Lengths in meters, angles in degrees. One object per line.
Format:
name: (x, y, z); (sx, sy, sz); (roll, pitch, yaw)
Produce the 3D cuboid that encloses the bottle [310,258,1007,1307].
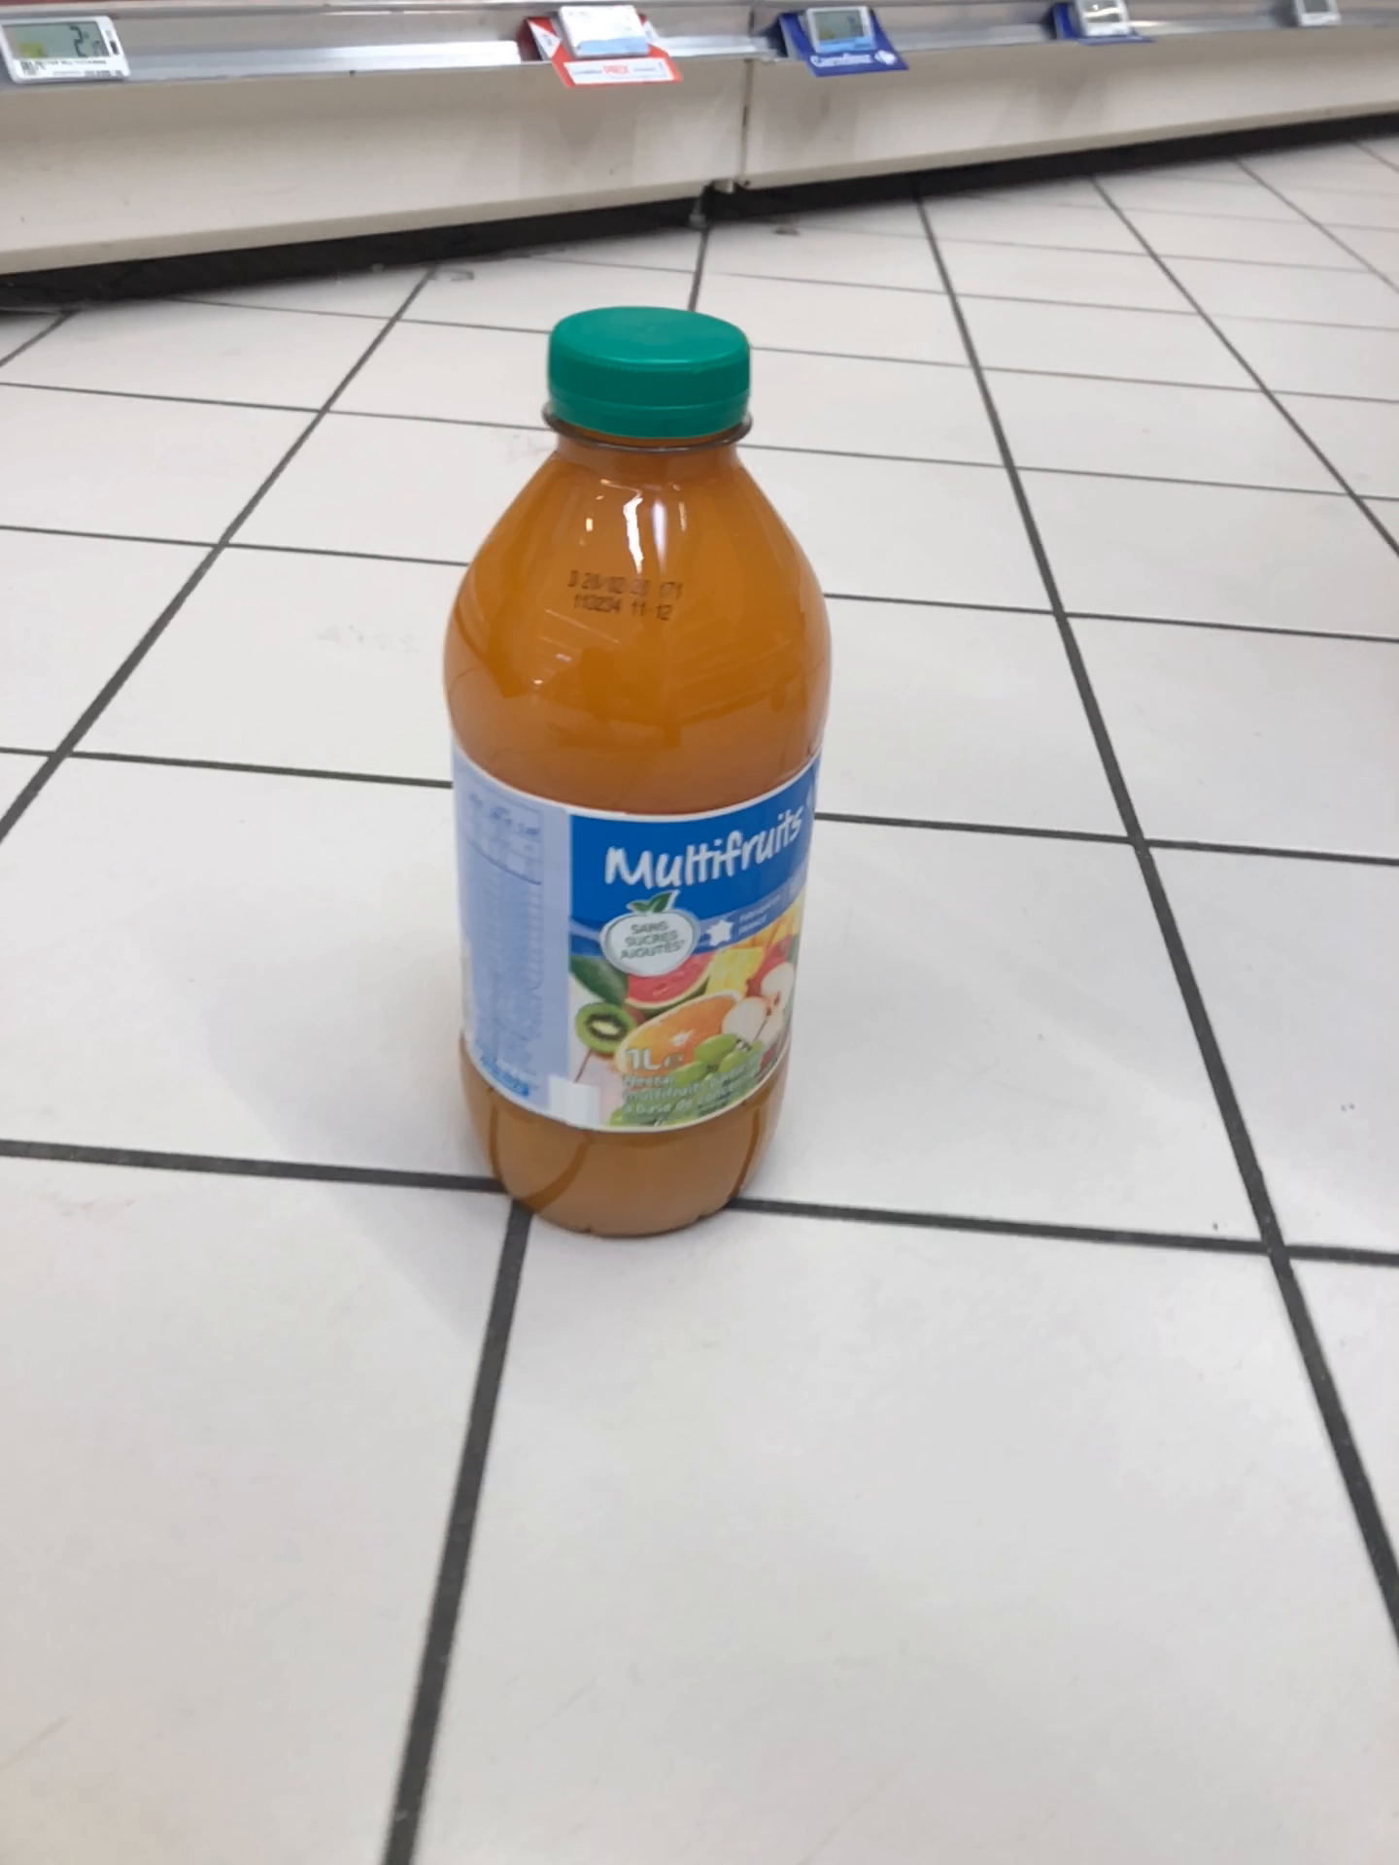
bottle: (-0.016, -0.036, 0.370); (0.101, 0.209, 0.100); (3, 35, -2)
